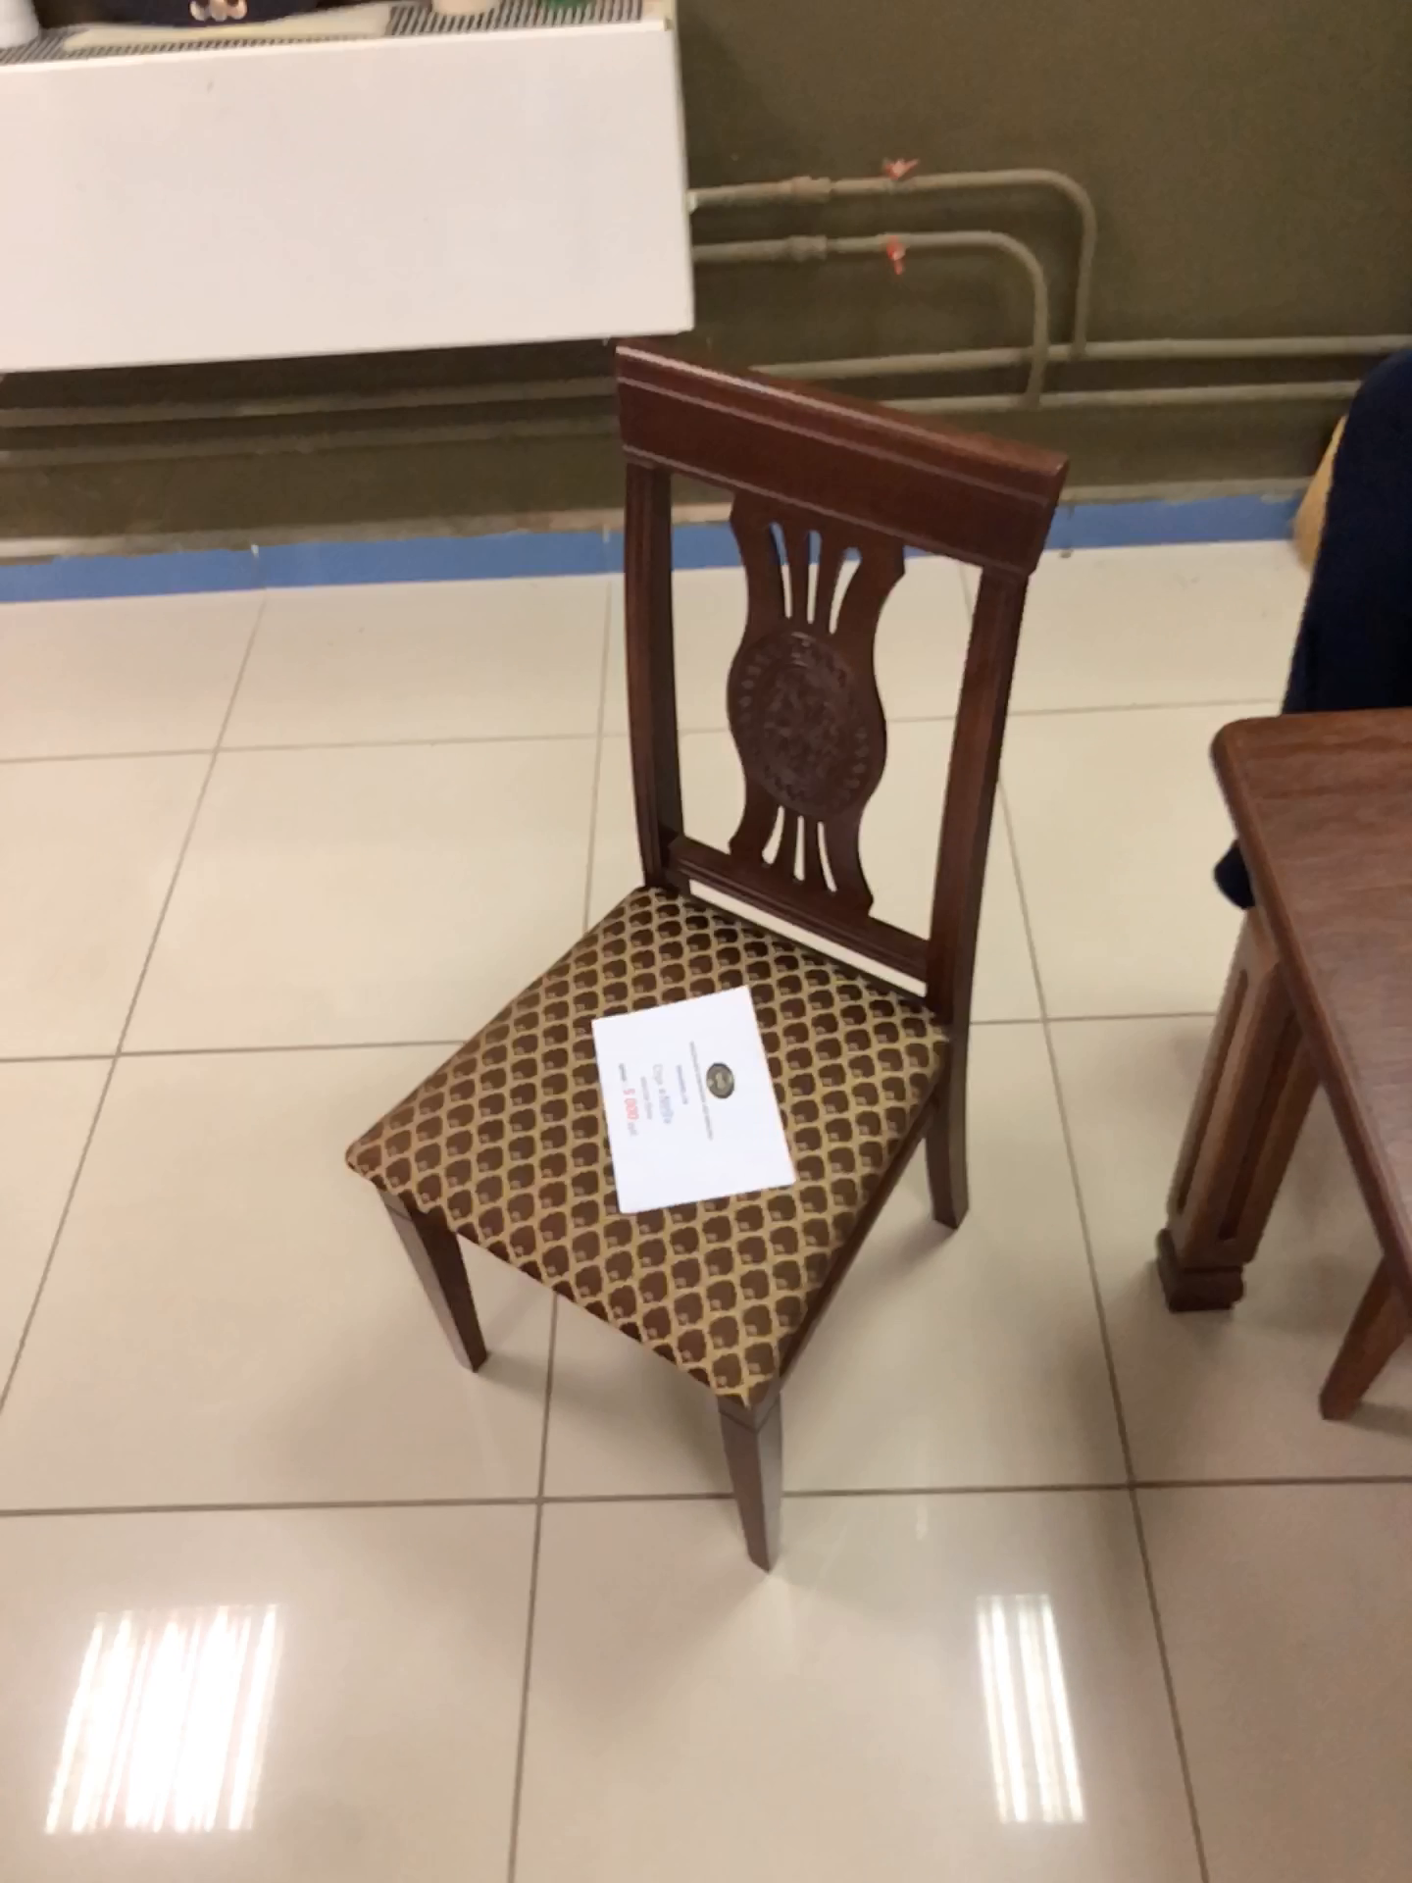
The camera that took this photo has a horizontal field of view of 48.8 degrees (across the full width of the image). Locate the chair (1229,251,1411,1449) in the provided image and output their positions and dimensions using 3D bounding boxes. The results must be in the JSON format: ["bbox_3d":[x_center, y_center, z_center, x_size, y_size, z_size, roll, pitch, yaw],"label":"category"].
[{"bbox_3d":[0.806,-0.008,1.360,0.430,0.956,0.492,0,47,5],"label":"chair"}]

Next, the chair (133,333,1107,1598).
[{"bbox_3d":[-0.016,0.071,1.349,0.436,0.936,0.471,26,54,26],"label":"chair"}]
